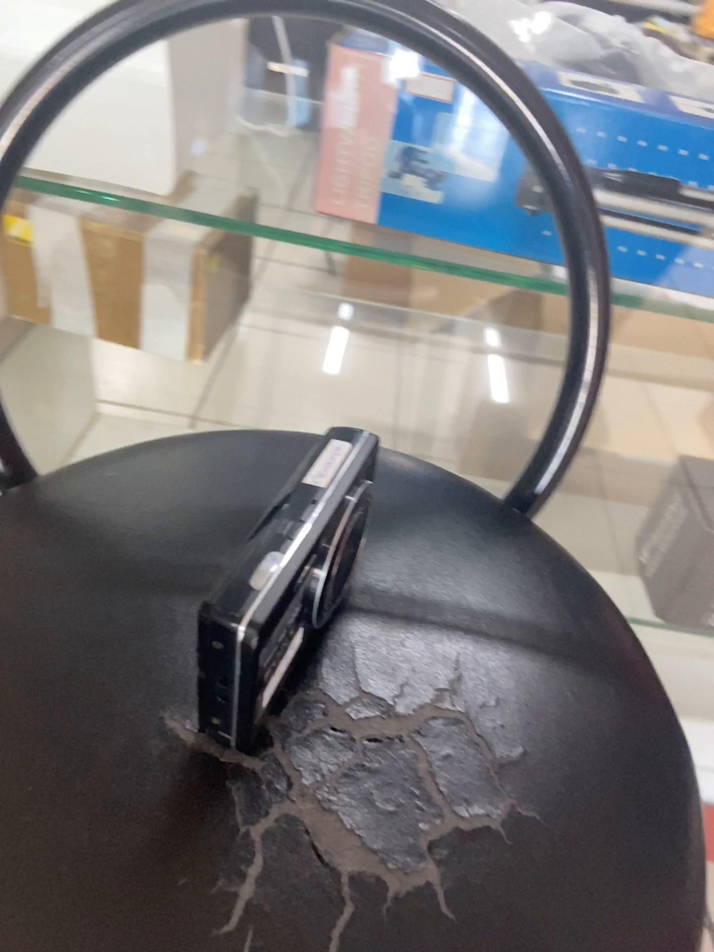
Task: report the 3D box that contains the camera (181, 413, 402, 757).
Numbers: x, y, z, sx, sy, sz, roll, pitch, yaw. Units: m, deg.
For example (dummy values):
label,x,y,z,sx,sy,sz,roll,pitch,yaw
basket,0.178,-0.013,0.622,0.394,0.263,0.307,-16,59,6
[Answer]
label,x,y,z,sx,sy,sz,roll,pitch,yaw
camera,-0.017,0.028,0.229,0.024,0.051,0.097,20,39,12
